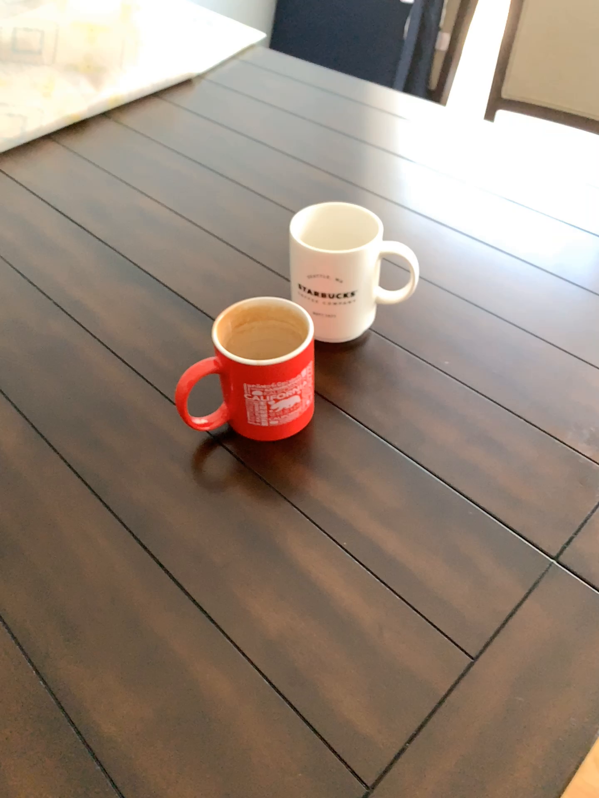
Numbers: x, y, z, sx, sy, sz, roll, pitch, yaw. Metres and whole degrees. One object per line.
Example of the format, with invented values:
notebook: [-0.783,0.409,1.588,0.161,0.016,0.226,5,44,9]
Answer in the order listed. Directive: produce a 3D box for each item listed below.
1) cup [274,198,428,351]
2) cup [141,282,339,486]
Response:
cup: [0.050,-0.119,0.595,0.130,0.110,0.080,5,47,7]
cup: [-0.047,-0.015,0.521,0.130,0.100,0.090,-22,50,-17]
